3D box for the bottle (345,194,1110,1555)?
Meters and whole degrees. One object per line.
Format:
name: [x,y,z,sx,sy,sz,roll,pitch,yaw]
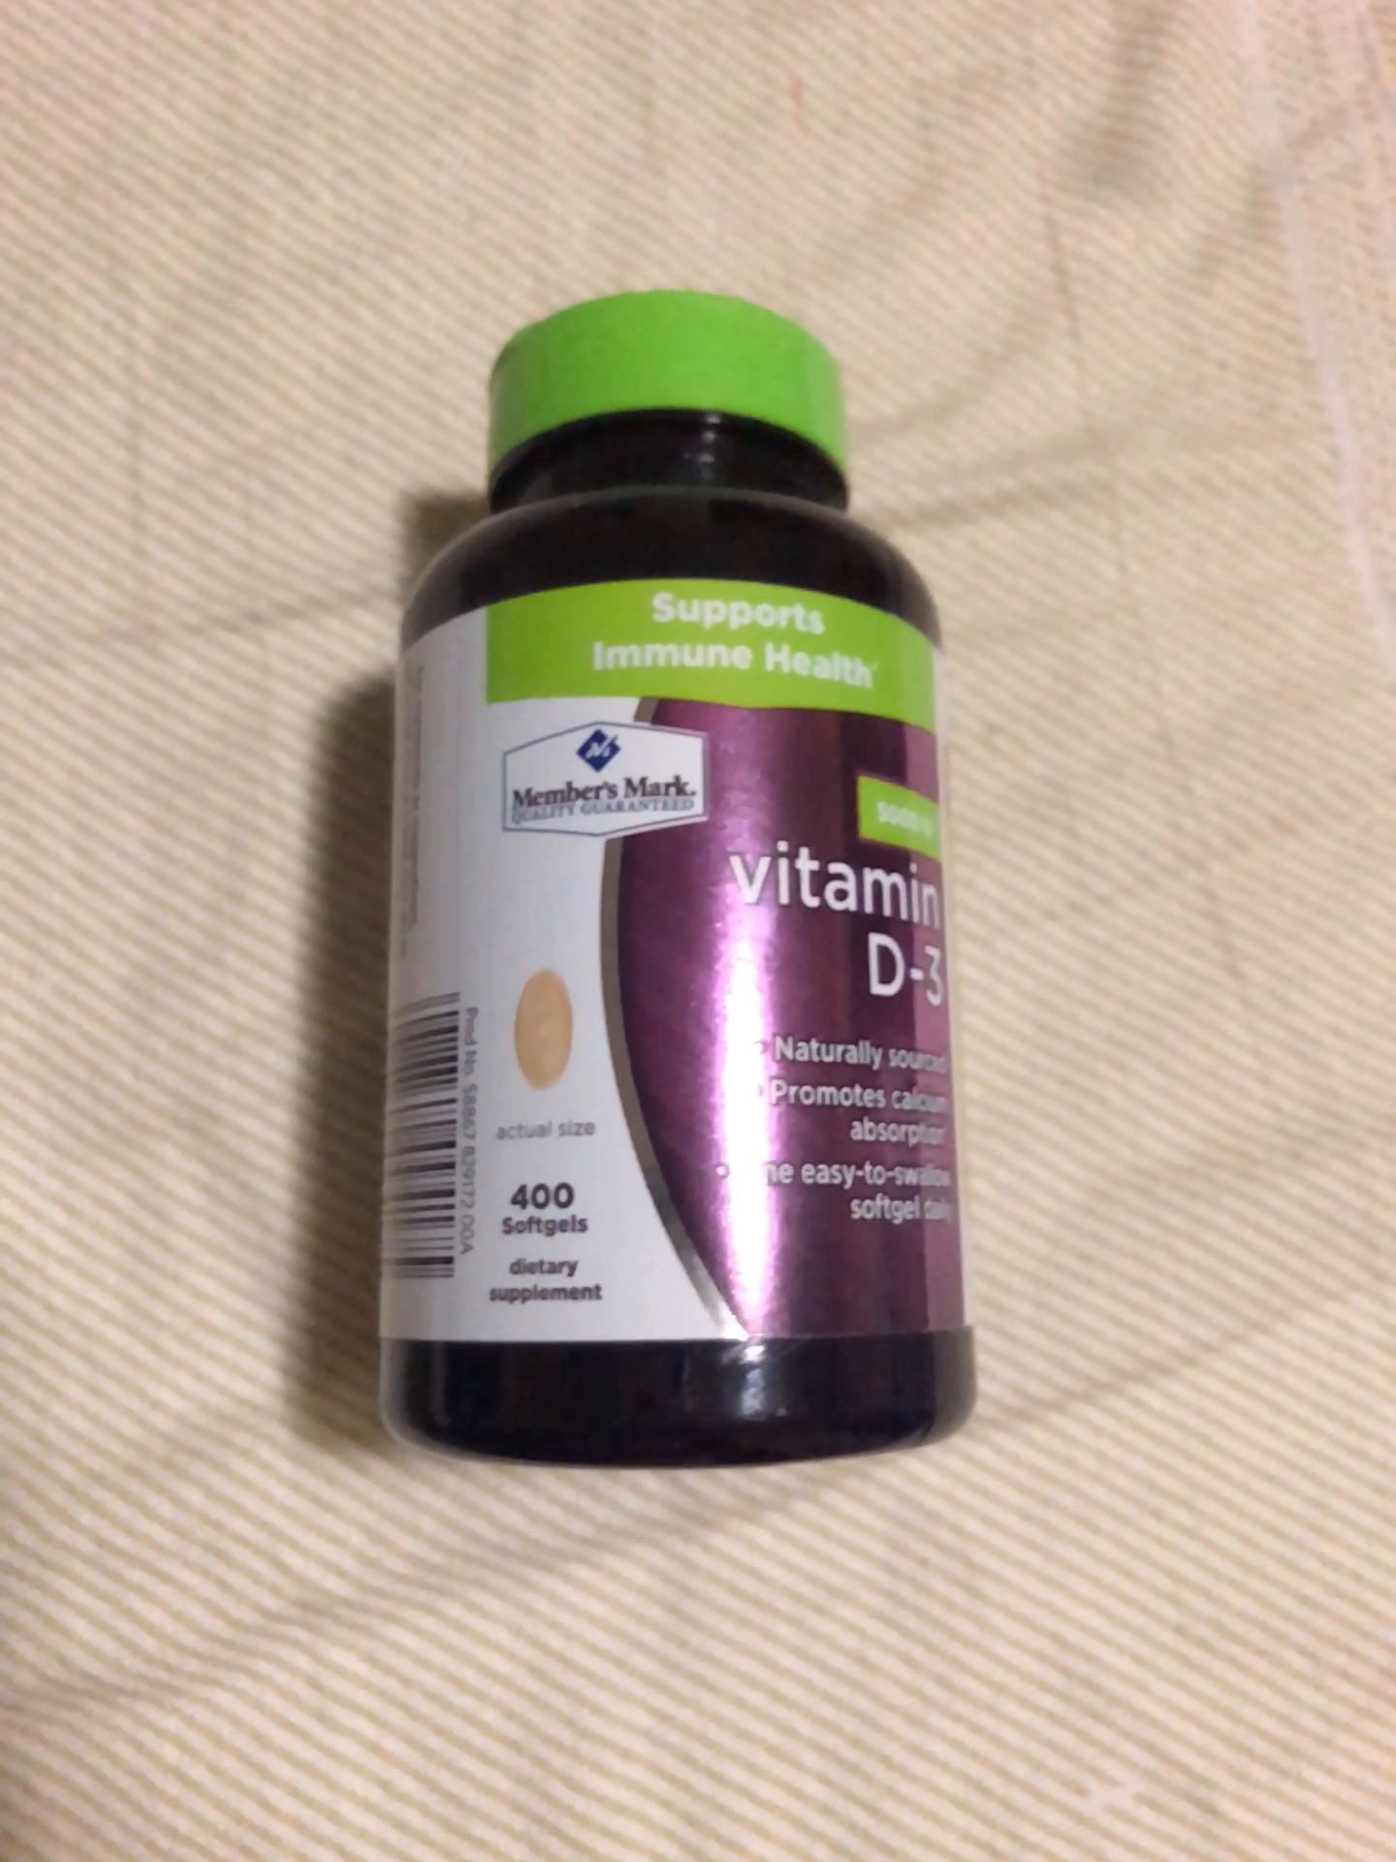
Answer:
bottle: [-0.003,-0.003,0.162,0.060,0.060,0.110,1,80,-14]
